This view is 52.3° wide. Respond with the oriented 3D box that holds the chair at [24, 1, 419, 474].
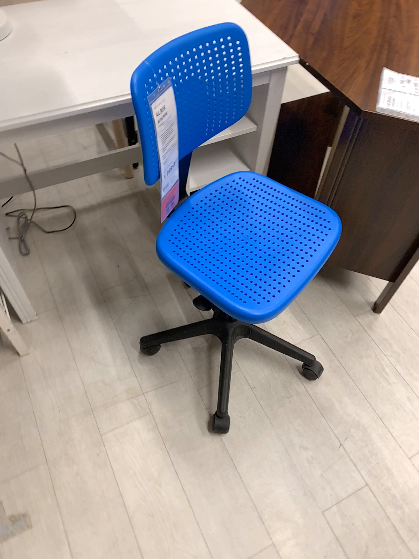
[{"bbox_3d":[0.097,-0.060,1.106,0.621,0.857,0.612,36,59,21],"label":"chair"}]
